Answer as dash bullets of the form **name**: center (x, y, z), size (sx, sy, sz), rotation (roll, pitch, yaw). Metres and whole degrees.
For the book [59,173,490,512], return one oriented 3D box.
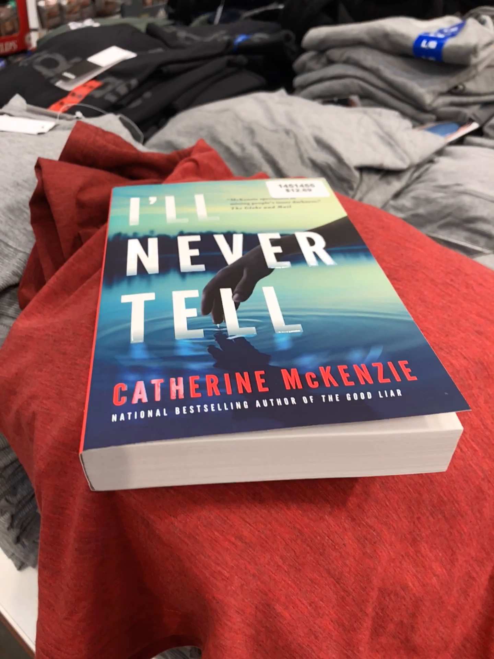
- **book**: center (-0.003, -0.019, 0.273), size (0.143, 0.032, 0.209), rotation (-4, 38, -8)
